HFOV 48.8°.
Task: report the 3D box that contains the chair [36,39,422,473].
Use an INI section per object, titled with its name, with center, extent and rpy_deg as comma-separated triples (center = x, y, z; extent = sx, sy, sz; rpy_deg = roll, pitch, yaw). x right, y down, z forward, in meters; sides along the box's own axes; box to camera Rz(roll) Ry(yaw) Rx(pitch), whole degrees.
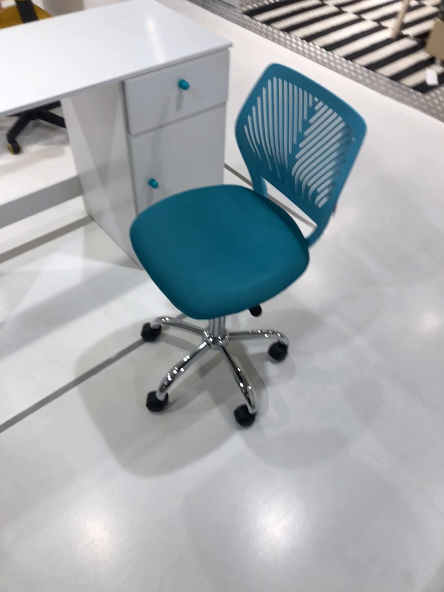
[chair]
center = -0.013, -0.069, 1.192
extent = 0.531, 0.804, 0.482
rpy_deg = -24, 54, -22
